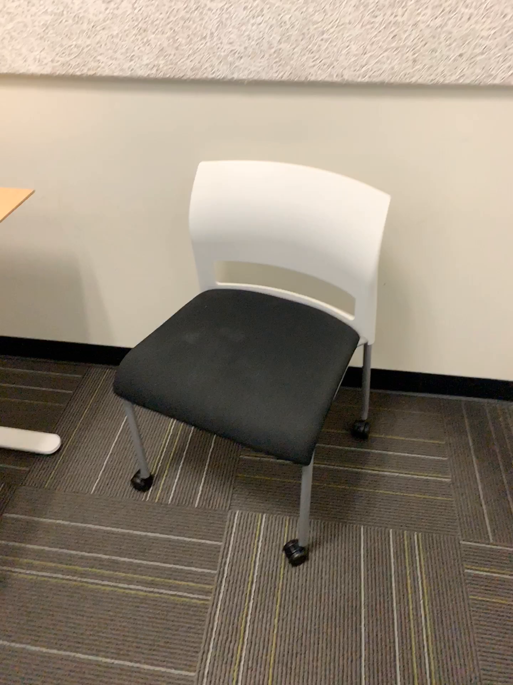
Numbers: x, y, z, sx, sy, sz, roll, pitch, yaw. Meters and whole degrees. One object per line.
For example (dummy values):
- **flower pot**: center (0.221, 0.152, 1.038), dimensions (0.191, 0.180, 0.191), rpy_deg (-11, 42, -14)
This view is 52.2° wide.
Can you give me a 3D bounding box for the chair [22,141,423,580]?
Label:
- **chair**: center (-0.025, 0.025, 1.242), dimensions (0.581, 0.736, 0.542), rpy_deg (17, 44, 20)
